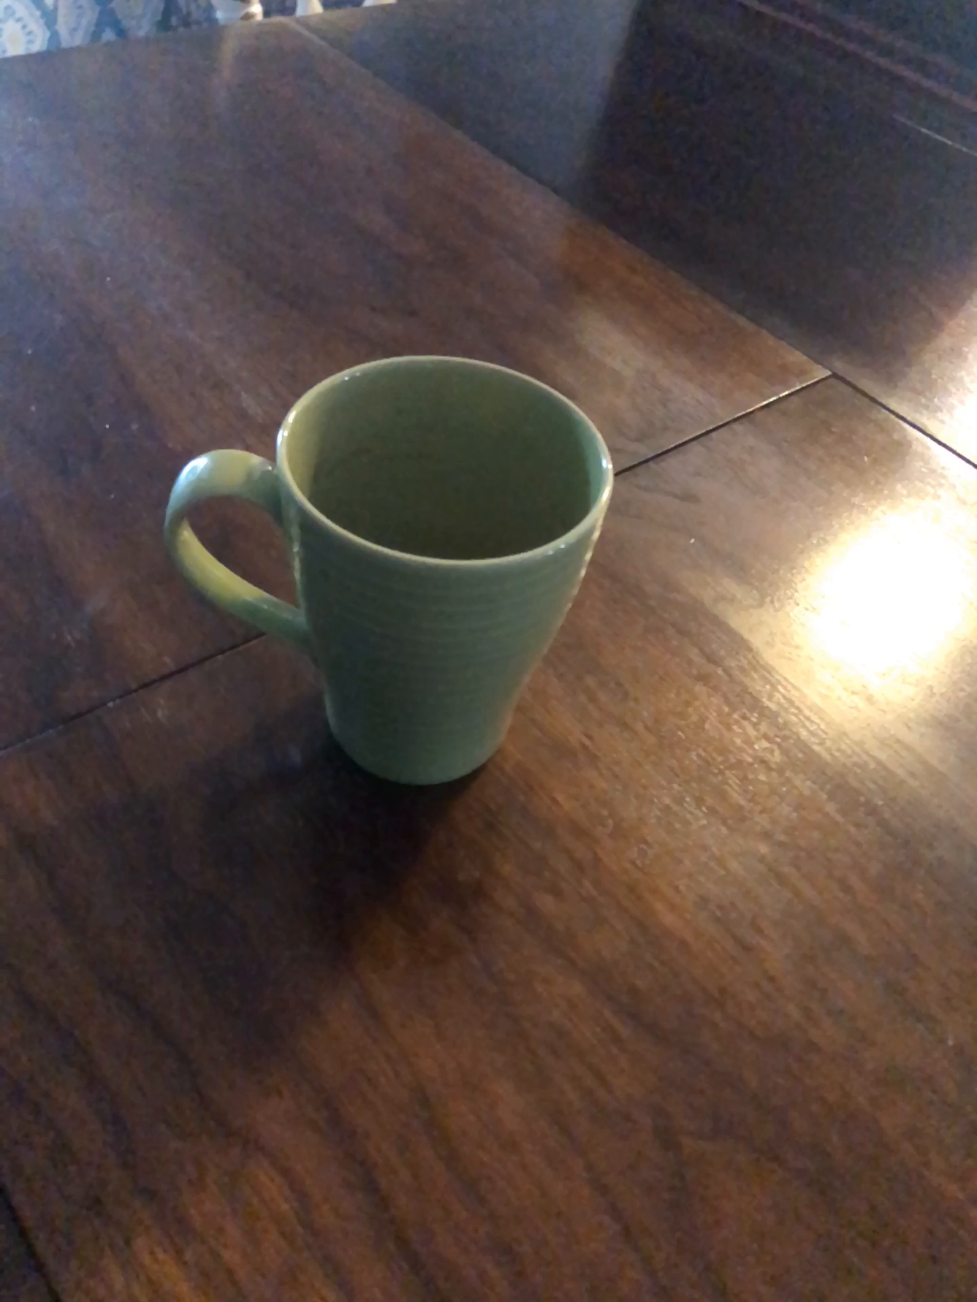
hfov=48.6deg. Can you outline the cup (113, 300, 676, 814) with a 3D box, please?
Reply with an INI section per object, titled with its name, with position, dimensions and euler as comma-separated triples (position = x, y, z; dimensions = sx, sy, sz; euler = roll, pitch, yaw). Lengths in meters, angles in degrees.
[cup]
position = -0.023, -0.024, 0.294
dimensions = 0.120, 0.090, 0.090
euler = 6, 47, -4
